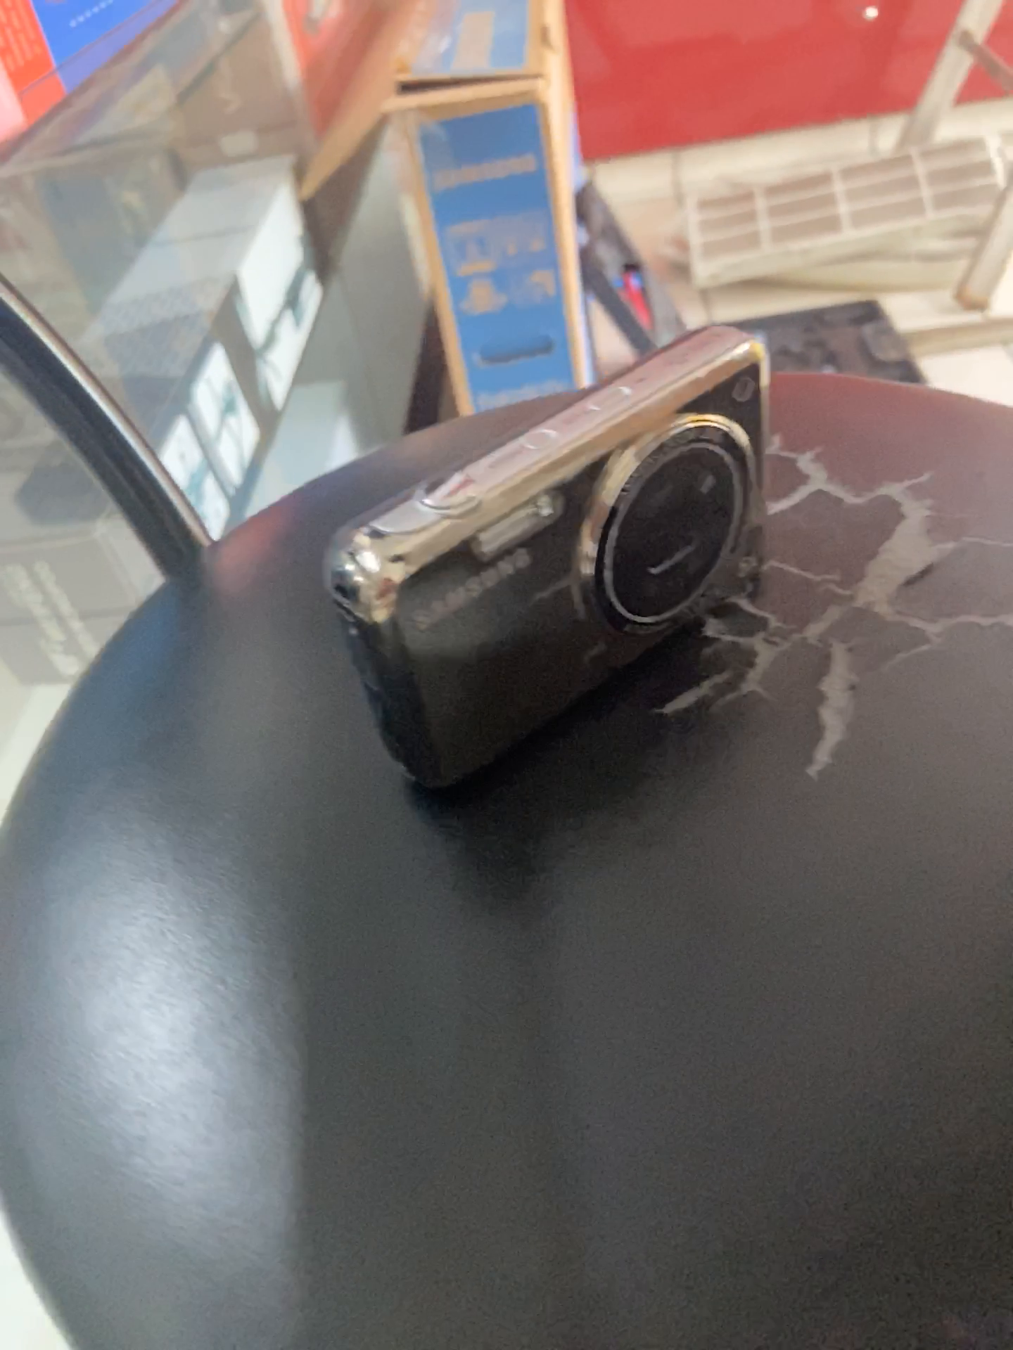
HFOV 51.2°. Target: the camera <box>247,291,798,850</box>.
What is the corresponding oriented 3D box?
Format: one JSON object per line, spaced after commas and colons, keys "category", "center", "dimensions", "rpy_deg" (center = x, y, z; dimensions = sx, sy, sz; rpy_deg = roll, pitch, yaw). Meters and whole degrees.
{"category": "camera", "center": [0.010, -0.022, 0.203], "dimensions": [0.100, 0.060, 0.030], "rpy_deg": [-34, 46, -22]}
